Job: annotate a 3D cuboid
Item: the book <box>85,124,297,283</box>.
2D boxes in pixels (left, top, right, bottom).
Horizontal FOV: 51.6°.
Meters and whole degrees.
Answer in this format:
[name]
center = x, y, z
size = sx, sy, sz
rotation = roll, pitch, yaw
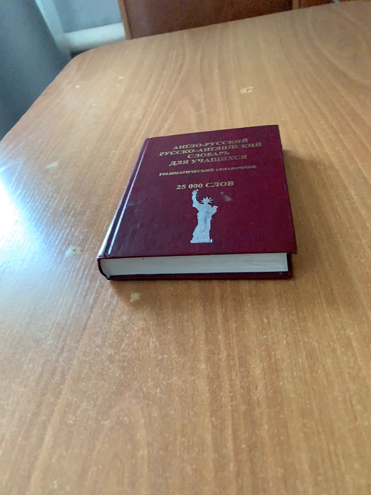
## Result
[book]
center = 0.011, -0.043, 0.307
size = 0.134, 0.023, 0.167
rotation = -2, 43, 11
